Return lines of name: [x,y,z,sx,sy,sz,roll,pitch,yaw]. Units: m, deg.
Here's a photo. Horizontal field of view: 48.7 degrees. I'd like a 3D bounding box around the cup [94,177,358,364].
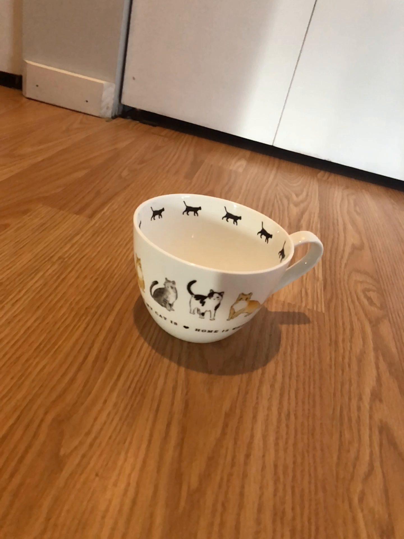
cup: [0.008,-0.004,0.349,0.160,0.080,0.120,1,33,-22]
